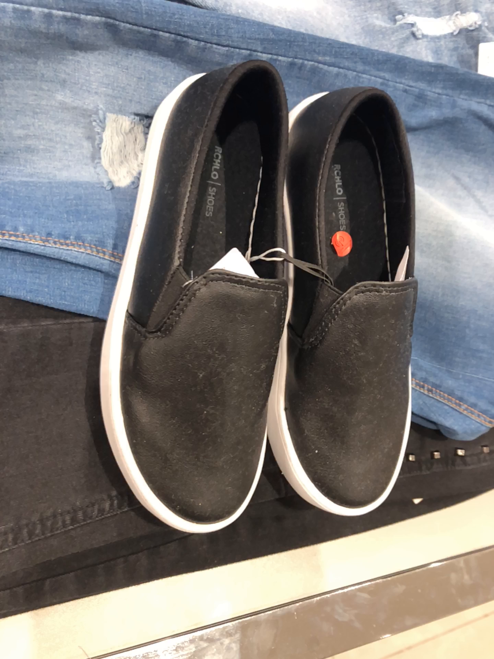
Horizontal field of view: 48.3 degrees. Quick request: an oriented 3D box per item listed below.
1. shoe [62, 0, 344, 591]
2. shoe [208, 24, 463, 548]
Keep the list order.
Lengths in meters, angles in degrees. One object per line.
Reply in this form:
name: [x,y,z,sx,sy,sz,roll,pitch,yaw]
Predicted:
shoe: [-0.030,-0.018,0.299,0.110,0.100,0.260,4,90,-22]
shoe: [0.051,-0.024,0.342,0.110,0.100,0.260,-4,93,-24]
